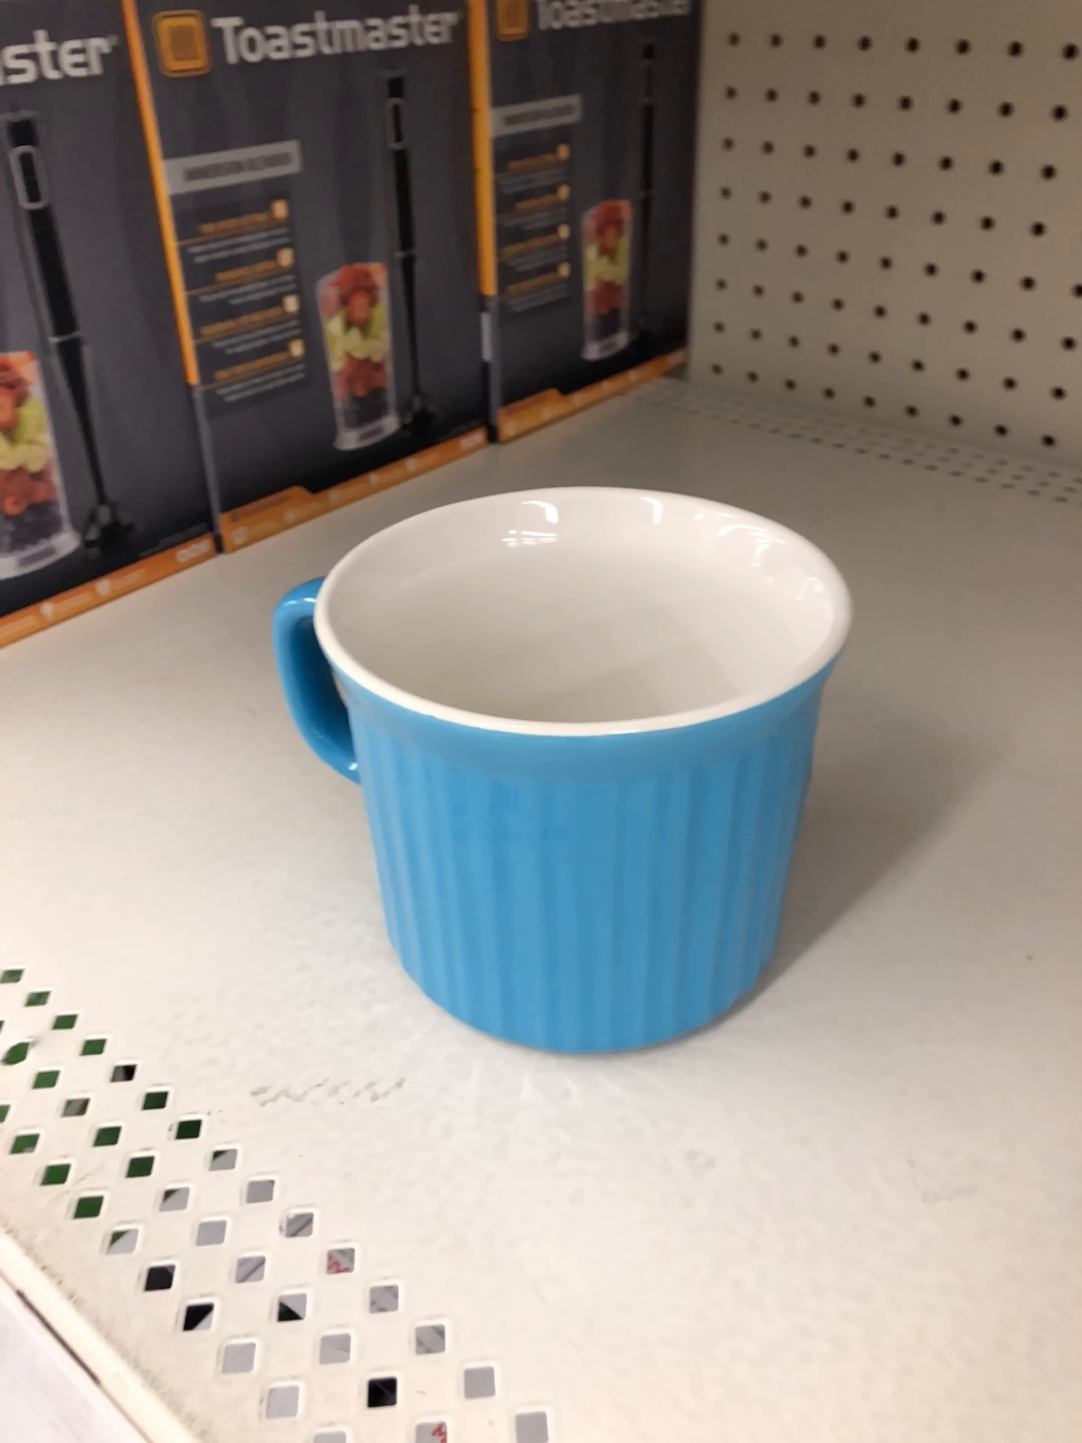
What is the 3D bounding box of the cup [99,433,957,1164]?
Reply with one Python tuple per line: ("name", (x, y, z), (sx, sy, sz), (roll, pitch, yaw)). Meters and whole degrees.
("cup", (0.003, 0.003, 0.306), (0.161, 0.093, 0.126), (15, 37, 24))
